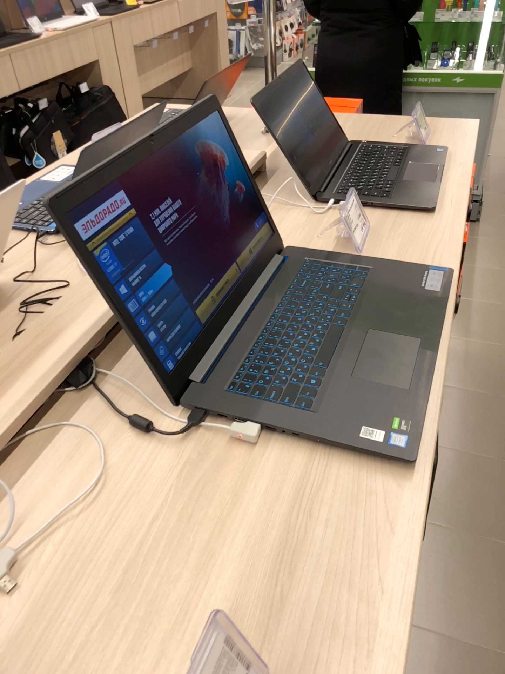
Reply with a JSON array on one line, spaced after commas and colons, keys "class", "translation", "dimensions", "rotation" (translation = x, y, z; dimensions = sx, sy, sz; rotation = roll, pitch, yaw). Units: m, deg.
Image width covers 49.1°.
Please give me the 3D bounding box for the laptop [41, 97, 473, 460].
[{"class": "laptop", "translation": [0.046, -0.119, 0.706], "dimensions": [0.380, 0.242, 0.397], "rotation": [11, 39, 18]}]
